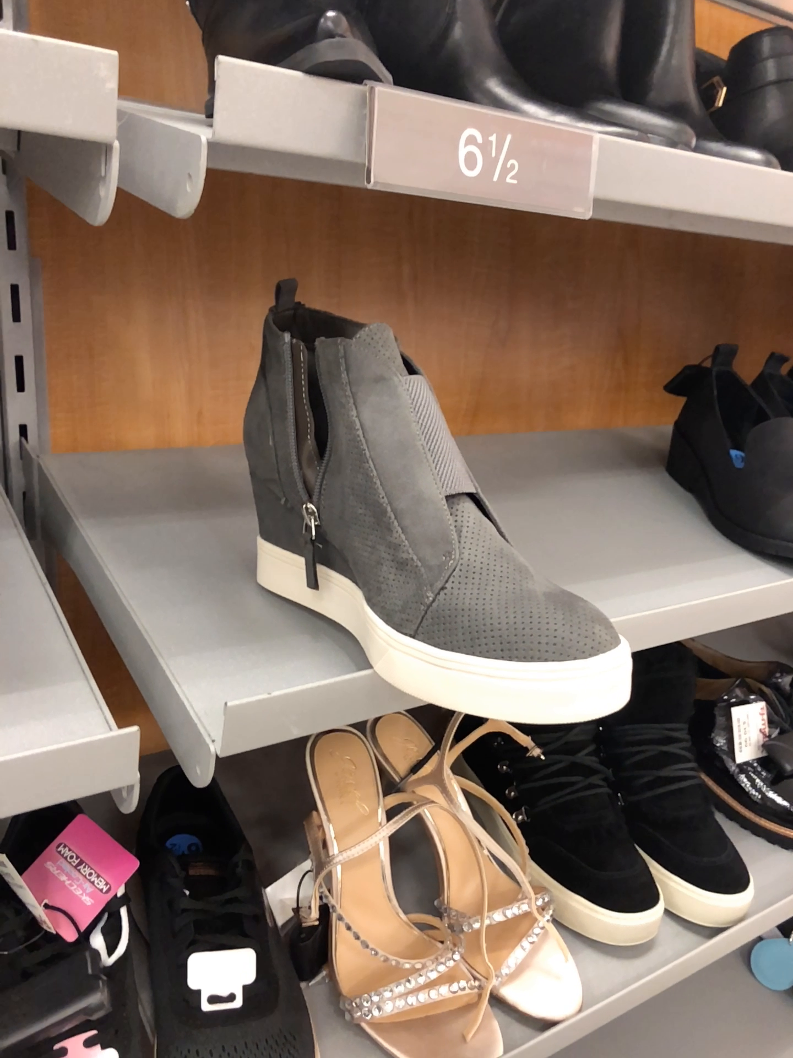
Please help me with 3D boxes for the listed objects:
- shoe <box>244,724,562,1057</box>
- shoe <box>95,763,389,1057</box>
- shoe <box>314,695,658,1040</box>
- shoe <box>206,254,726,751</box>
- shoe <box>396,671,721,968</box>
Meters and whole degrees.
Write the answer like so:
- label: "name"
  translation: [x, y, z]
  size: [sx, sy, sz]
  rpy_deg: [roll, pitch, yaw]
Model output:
- label: "shoe"
  translation: [-0.012, 0.230, 0.579]
  size: [0.084, 0.085, 0.250]
  rpy_deg: [-6, 18, -32]
- label: "shoe"
  translation: [-0.111, 0.248, 0.534]
  size: [0.109, 0.065, 0.278]
  rpy_deg: [-4, 16, -24]
- label: "shoe"
  translation: [0.048, 0.219, 0.620]
  size: [0.084, 0.089, 0.248]
  rpy_deg: [-8, 21, -39]
- label: "shoe"
  translation: [0.009, -0.032, 0.441]
  size: [0.104, 0.173, 0.273]
  rpy_deg: [-7, 13, -34]
- label: "shoe"
  translation: [0.114, 0.215, 0.716]
  size: [0.104, 0.068, 0.278]
  rpy_deg: [-5, 20, -29]
